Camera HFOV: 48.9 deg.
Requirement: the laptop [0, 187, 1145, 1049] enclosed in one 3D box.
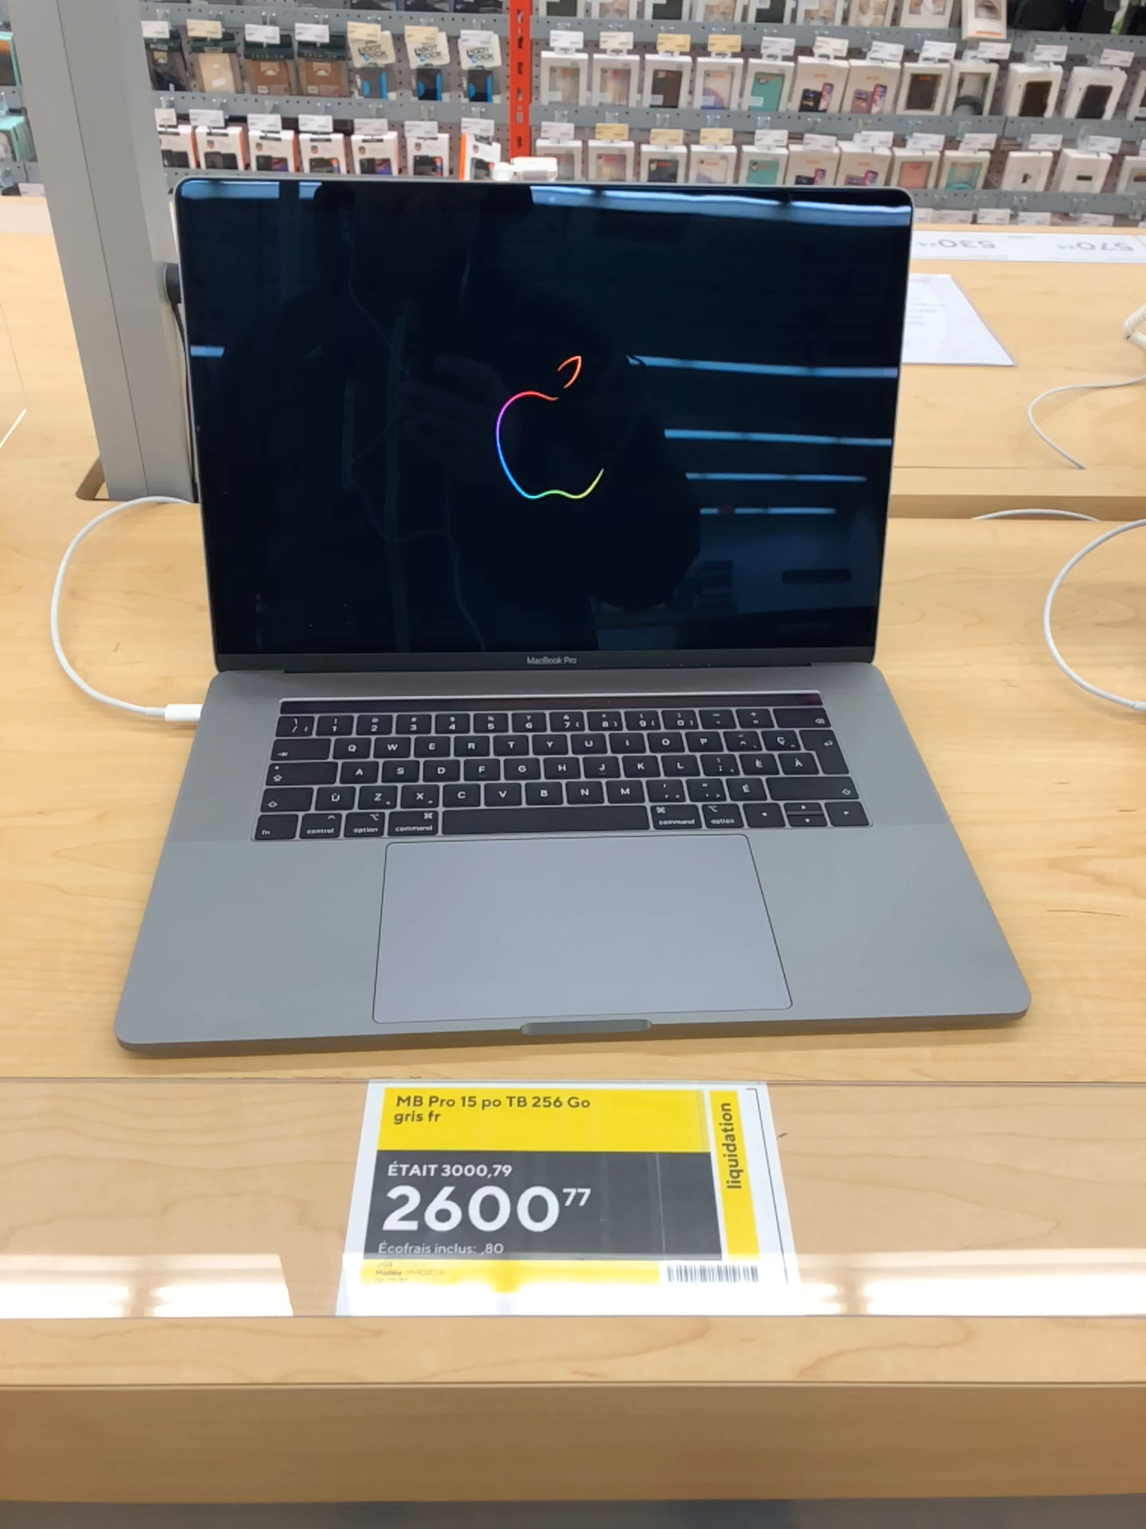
[{"bbox_3d":[0.000,-0.081,0.515,0.329,0.212,0.299,-1,39,-5],"label":"laptop"}]
